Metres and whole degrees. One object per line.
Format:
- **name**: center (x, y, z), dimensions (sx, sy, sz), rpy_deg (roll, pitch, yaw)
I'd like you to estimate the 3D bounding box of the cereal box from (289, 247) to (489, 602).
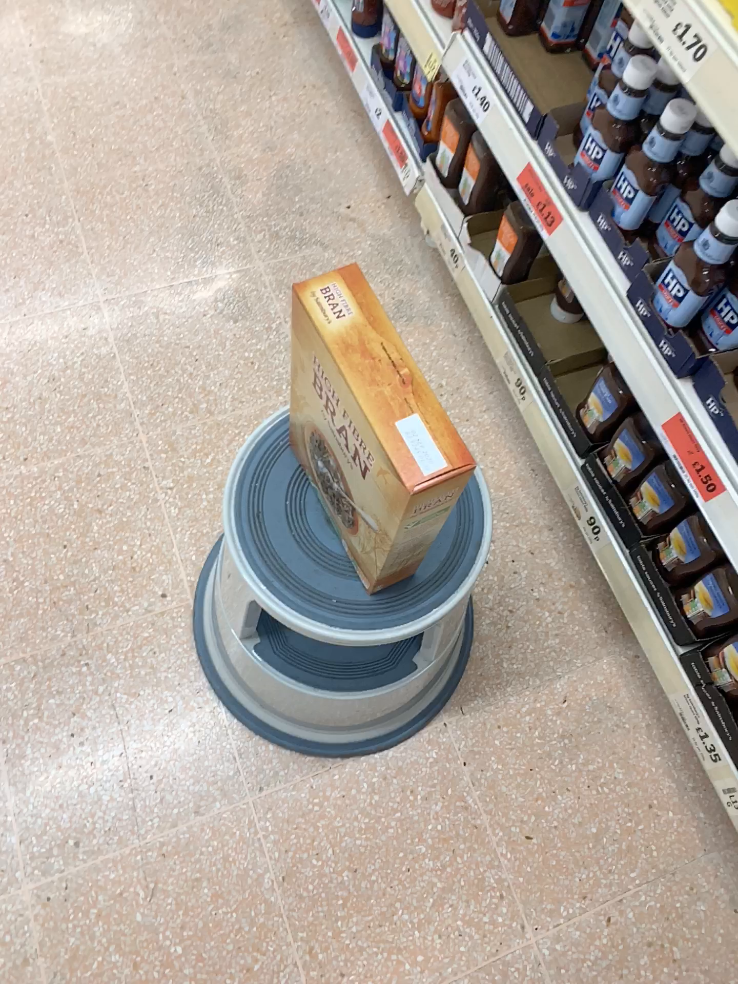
- **cereal box**: center (-0.002, -0.040, 0.673), dimensions (0.060, 0.279, 0.201), rpy_deg (-23, 70, -15)
